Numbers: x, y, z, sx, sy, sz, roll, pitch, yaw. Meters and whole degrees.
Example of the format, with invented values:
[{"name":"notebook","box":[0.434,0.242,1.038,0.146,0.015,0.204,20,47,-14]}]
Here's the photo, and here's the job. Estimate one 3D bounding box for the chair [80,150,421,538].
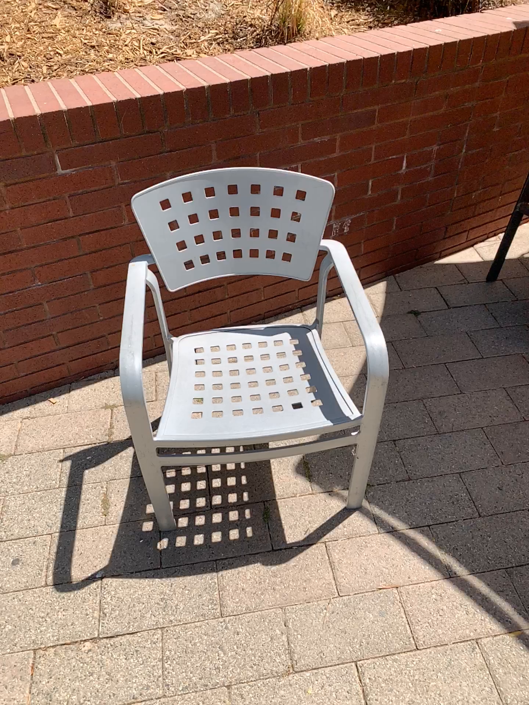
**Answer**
[{"name":"chair","box":[-0.049,-0.010,1.310,0.559,0.718,0.492,-7,42,-6]}]
